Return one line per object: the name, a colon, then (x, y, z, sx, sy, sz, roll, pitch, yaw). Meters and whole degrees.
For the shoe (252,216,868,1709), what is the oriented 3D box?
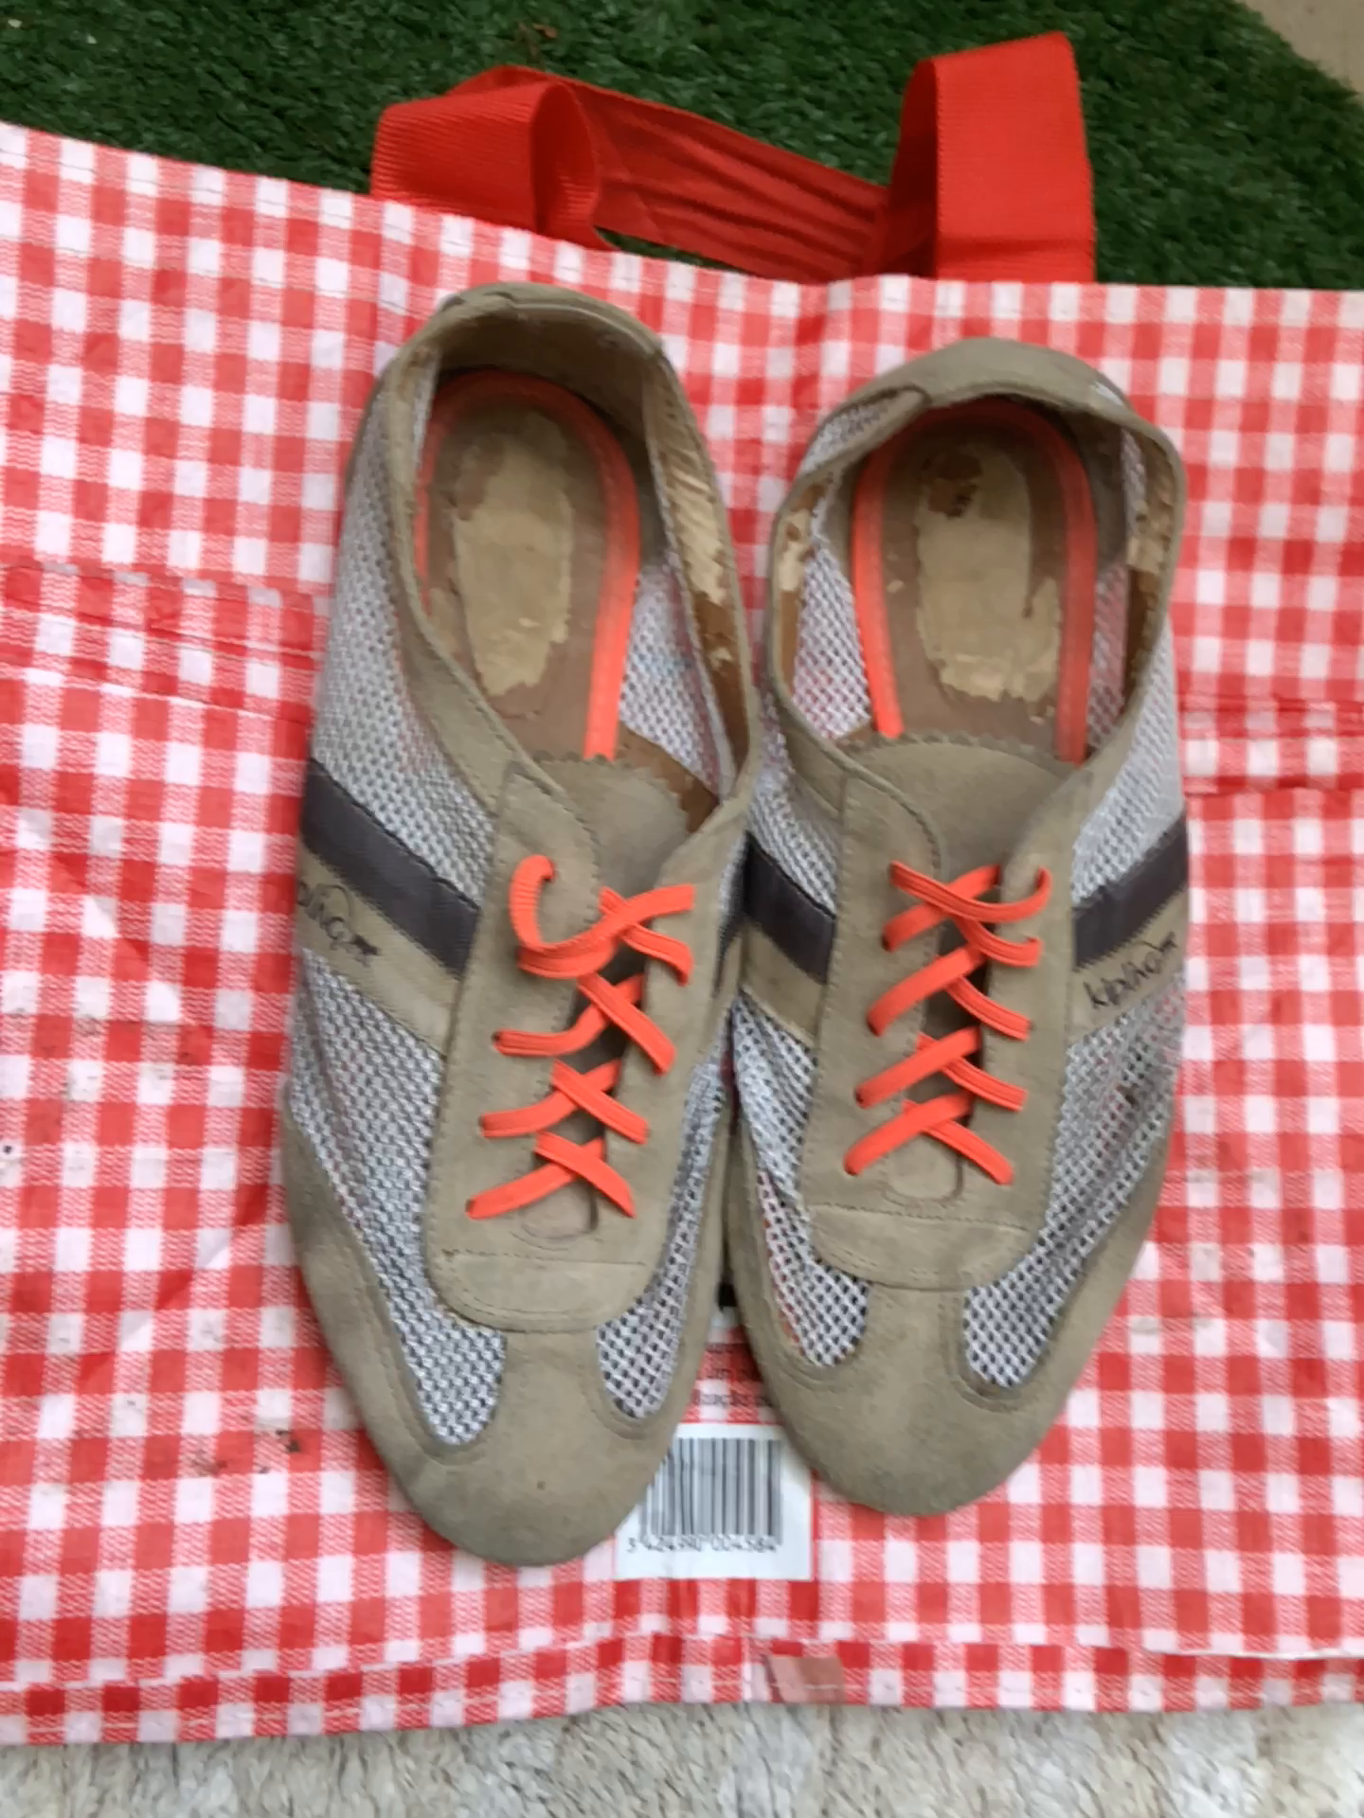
shoe: (-0.024, 0.010, 0.288, 0.100, 0.050, 0.240, 0, 93, -27)

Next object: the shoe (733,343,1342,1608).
shoe: (0.066, 0.012, 0.304, 0.100, 0.050, 0.230, 2, 94, 6)
